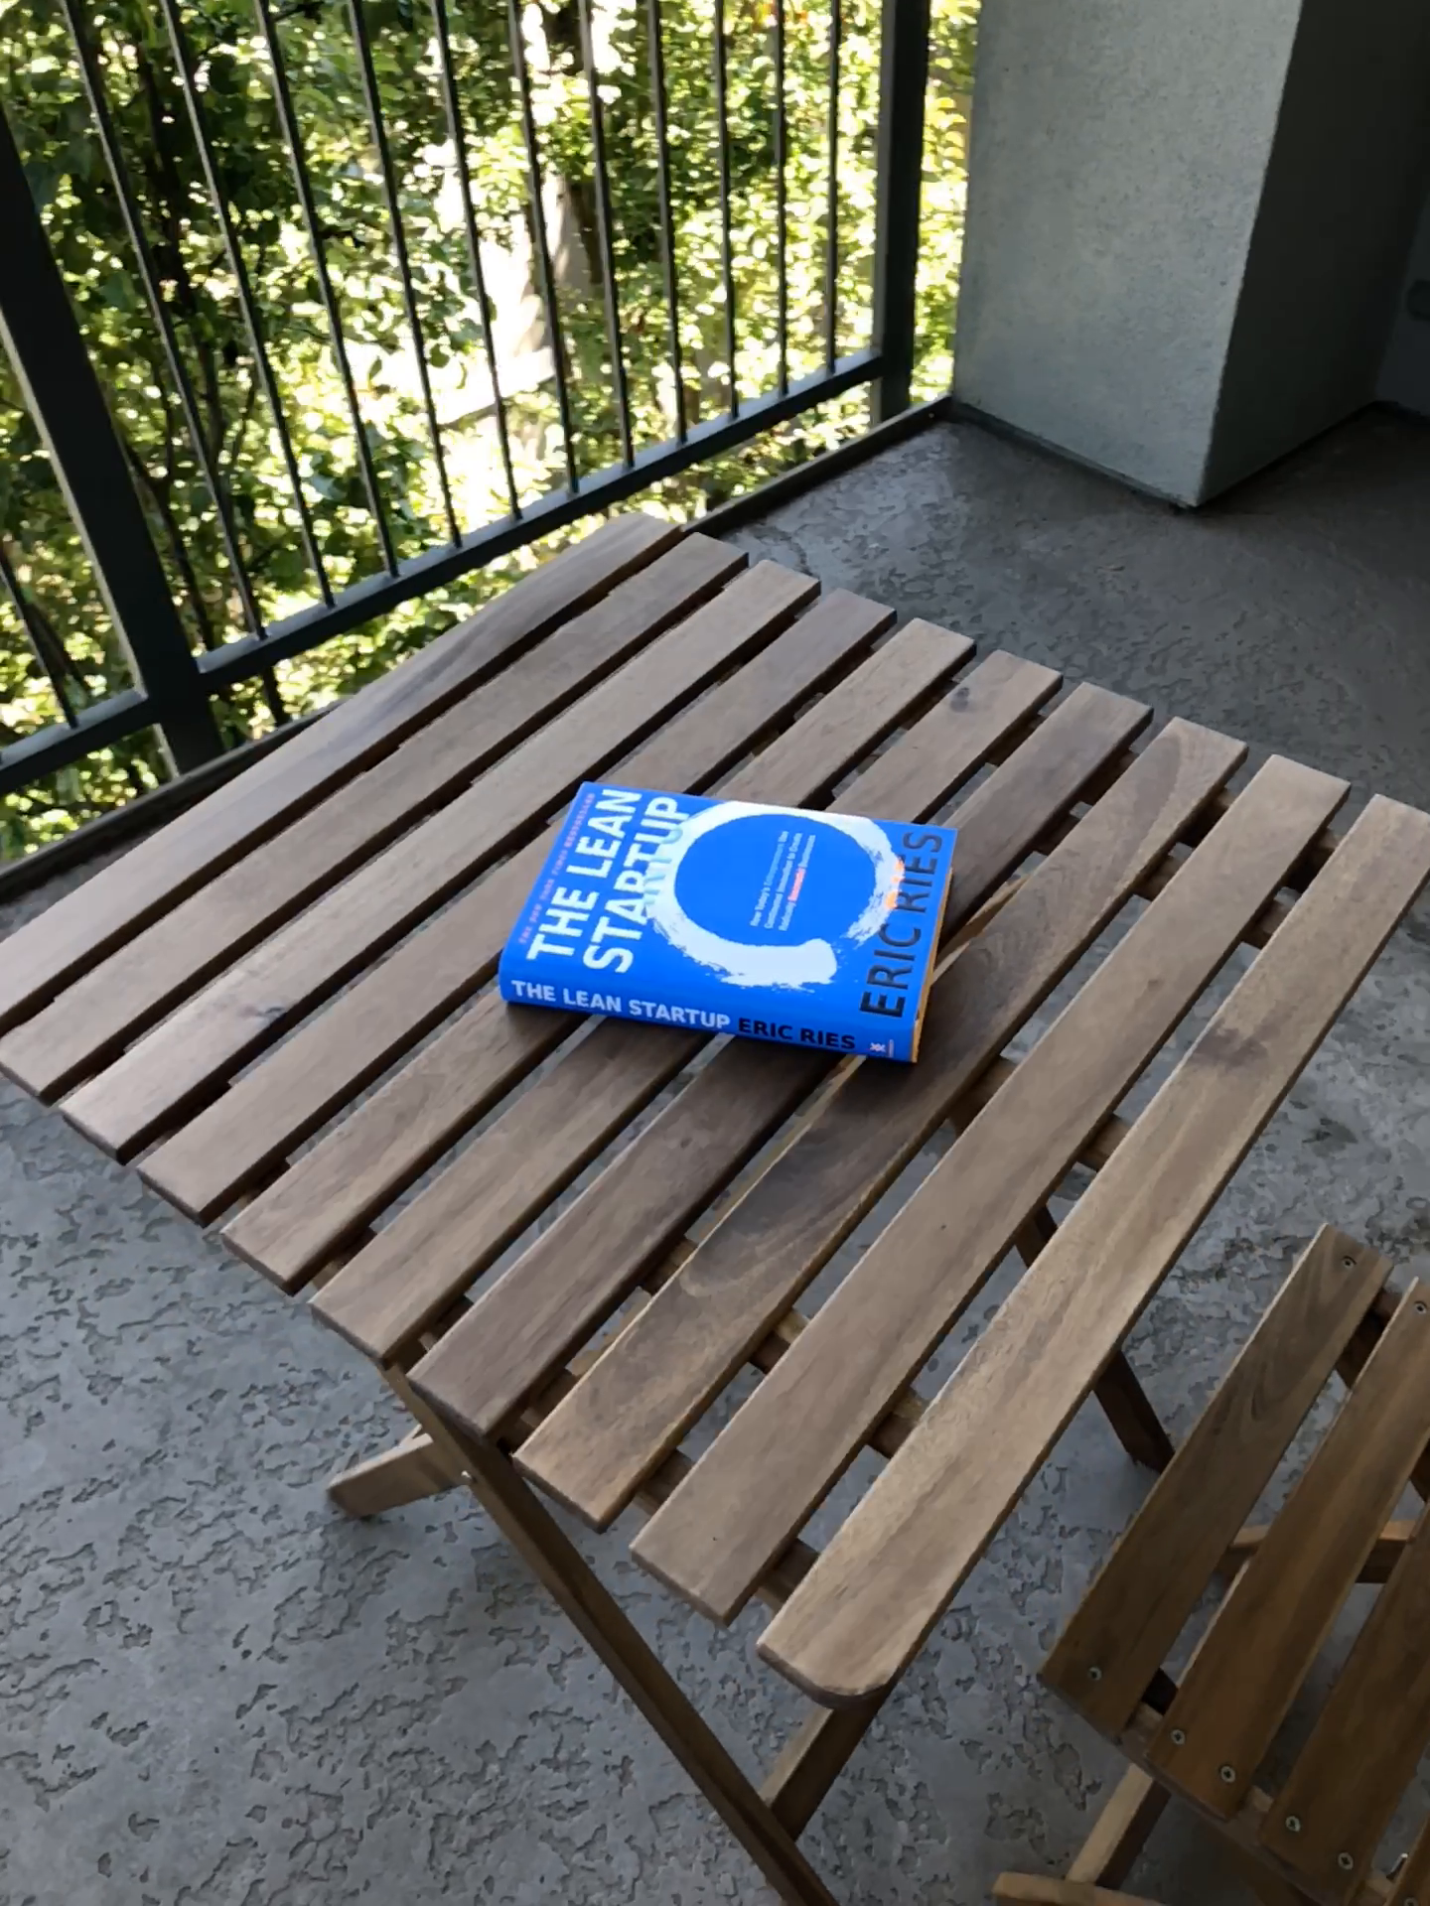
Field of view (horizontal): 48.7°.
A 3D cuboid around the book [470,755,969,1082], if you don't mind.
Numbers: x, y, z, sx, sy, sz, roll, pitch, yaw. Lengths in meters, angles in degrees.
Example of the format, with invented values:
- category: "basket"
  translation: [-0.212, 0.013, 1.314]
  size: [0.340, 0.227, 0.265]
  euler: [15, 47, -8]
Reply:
- category: "book"
  translation: [0.008, -0.025, 0.846]
  size: [0.230, 0.040, 0.161]
  euler: [9, 48, 12]
